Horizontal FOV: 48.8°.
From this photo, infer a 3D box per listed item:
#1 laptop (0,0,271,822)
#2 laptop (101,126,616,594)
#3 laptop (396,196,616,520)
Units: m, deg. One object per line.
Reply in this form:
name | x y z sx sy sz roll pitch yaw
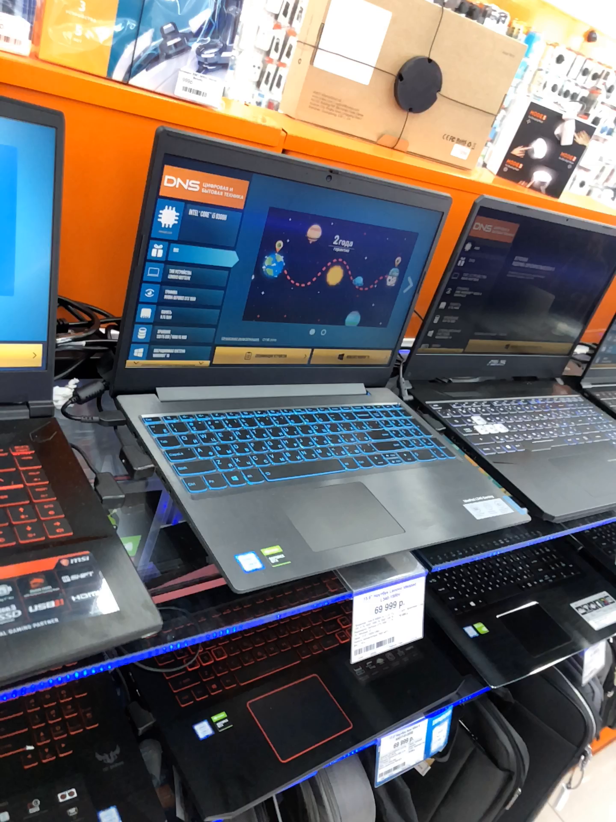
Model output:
laptop | -0.277 -0.037 0.358 0.357 0.224 0.319 -4 37 -40
laptop | 0.057 -0.055 0.612 0.357 0.235 0.278 -3 36 -39
laptop | 0.367 -0.073 0.849 0.368 0.244 0.273 -2 36 -37
